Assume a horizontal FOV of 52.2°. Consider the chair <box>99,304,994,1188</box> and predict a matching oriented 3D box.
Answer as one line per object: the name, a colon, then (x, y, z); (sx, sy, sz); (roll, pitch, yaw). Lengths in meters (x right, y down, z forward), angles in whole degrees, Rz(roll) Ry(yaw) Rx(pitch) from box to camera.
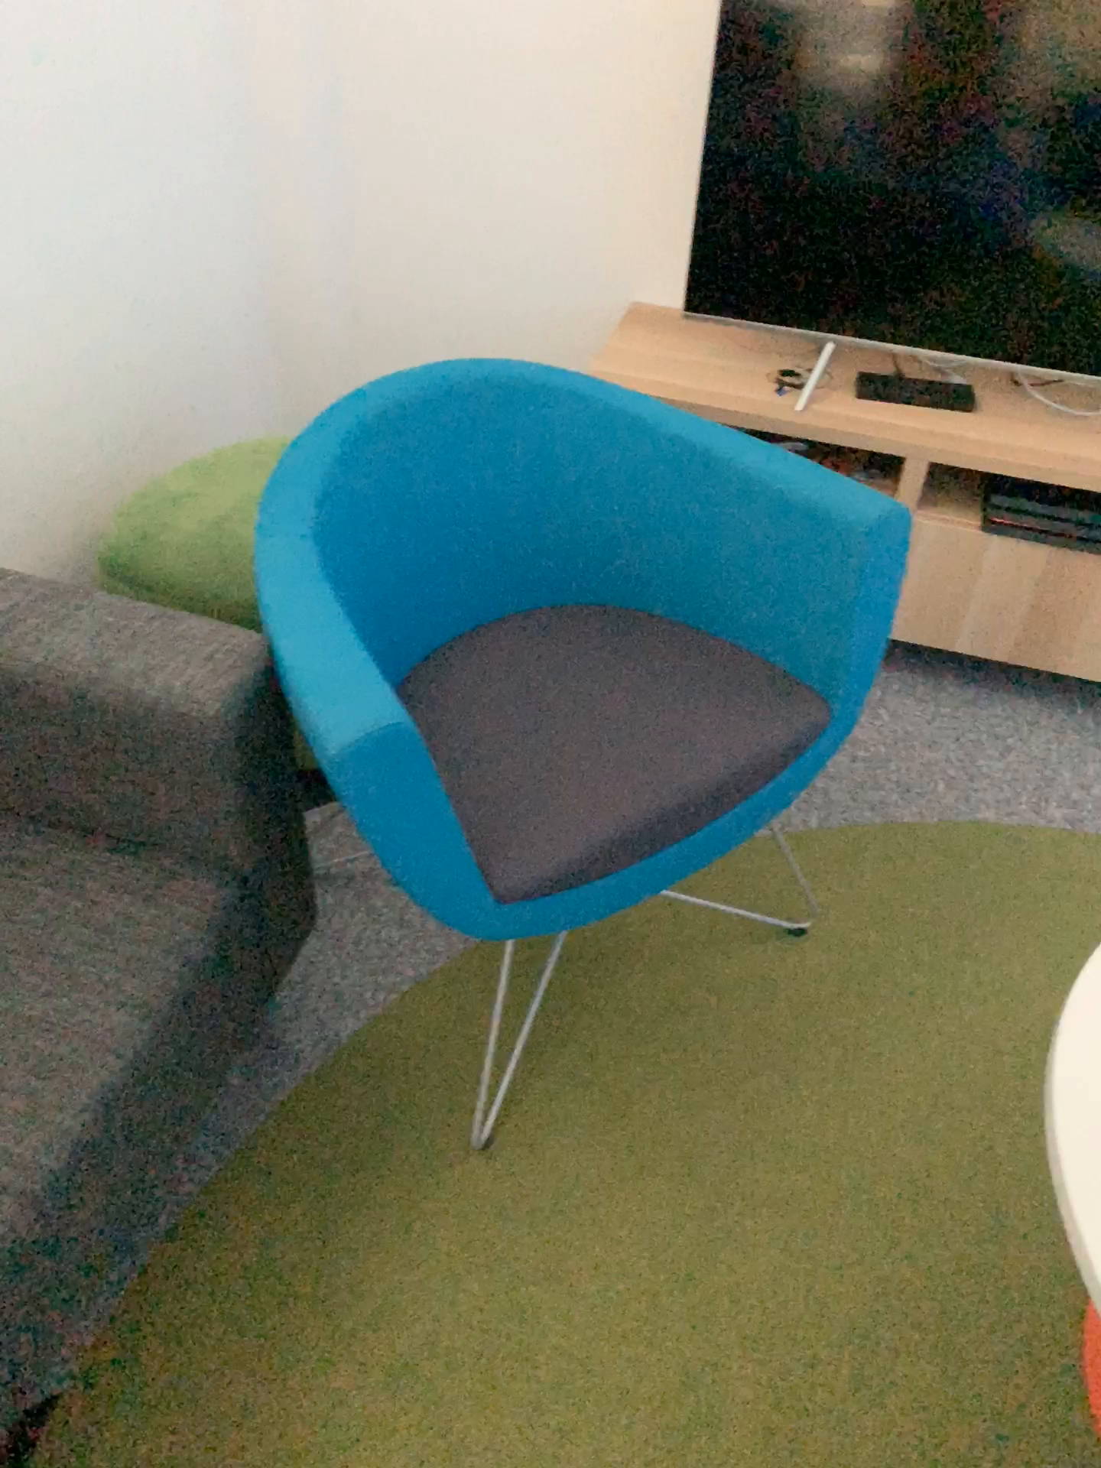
chair: (-0.017, -0.038, 1.456); (0.762, 0.686, 0.622); (-26, 49, -29)
